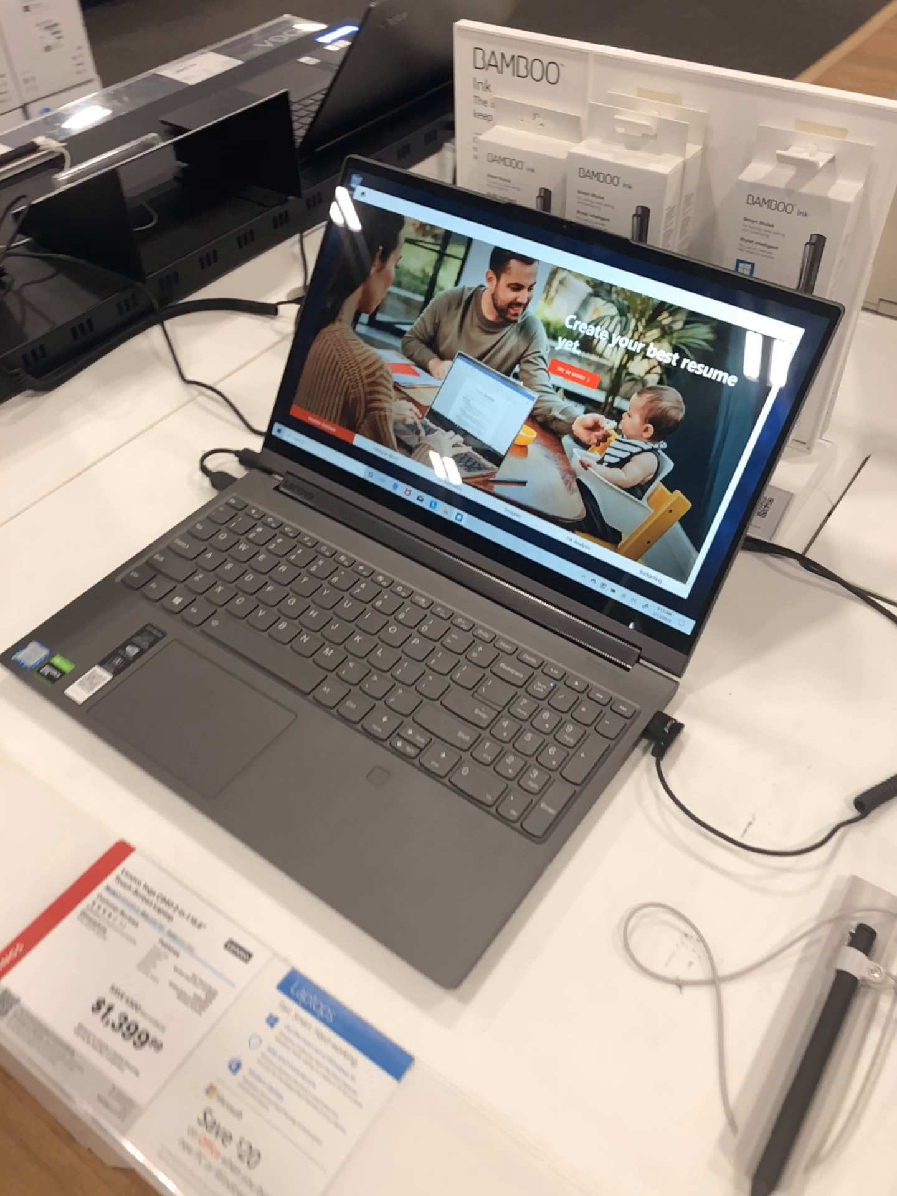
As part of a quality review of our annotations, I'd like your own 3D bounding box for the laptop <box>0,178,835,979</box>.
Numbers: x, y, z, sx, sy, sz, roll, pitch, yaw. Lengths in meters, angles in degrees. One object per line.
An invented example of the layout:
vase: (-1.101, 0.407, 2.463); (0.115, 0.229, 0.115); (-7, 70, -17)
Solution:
laptop: (-0.033, -0.056, 0.586); (0.346, 0.189, 0.369); (27, 51, 25)
